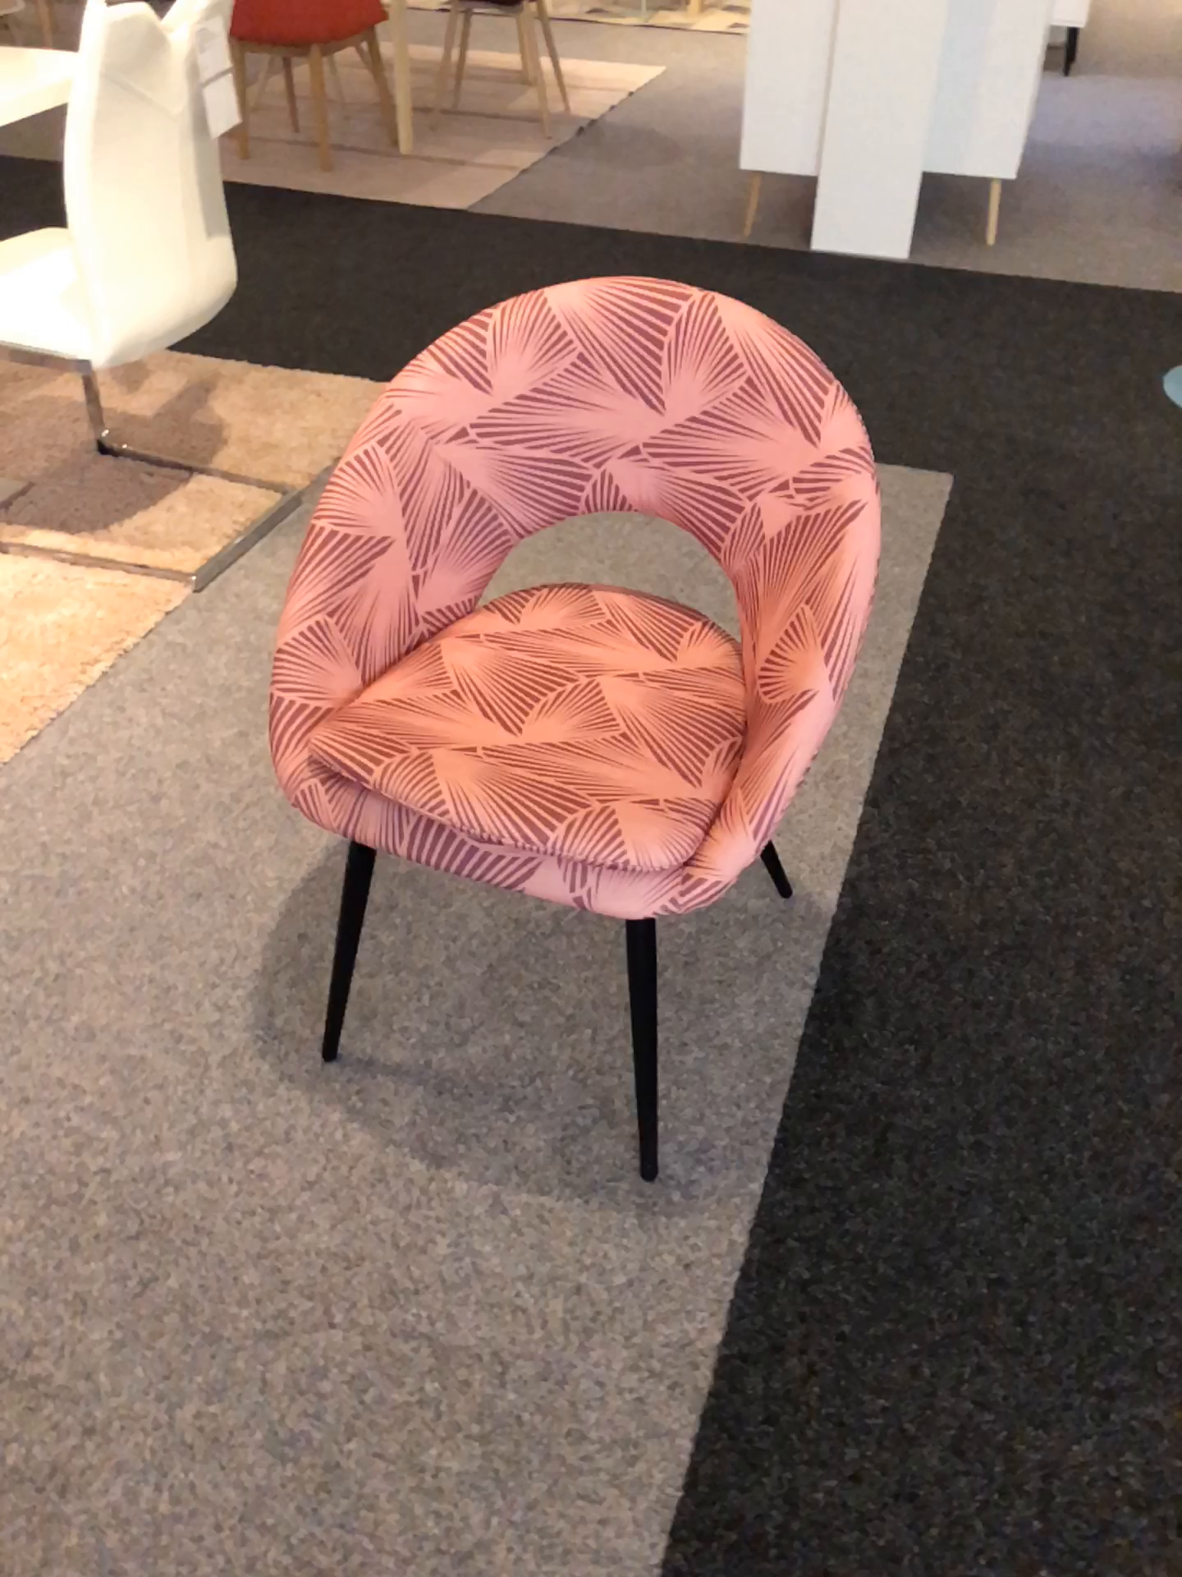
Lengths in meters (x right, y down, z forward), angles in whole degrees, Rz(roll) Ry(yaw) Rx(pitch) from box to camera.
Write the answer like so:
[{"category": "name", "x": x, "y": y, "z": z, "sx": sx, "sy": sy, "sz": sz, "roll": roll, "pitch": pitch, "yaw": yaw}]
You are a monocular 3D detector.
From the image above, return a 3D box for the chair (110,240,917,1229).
[{"category": "chair", "x": -0.032, "y": -0.077, "z": 1.439, "sx": 0.530, "sy": 0.795, "sz": 0.604, "roll": 16, "pitch": 41, "yaw": 17}]
